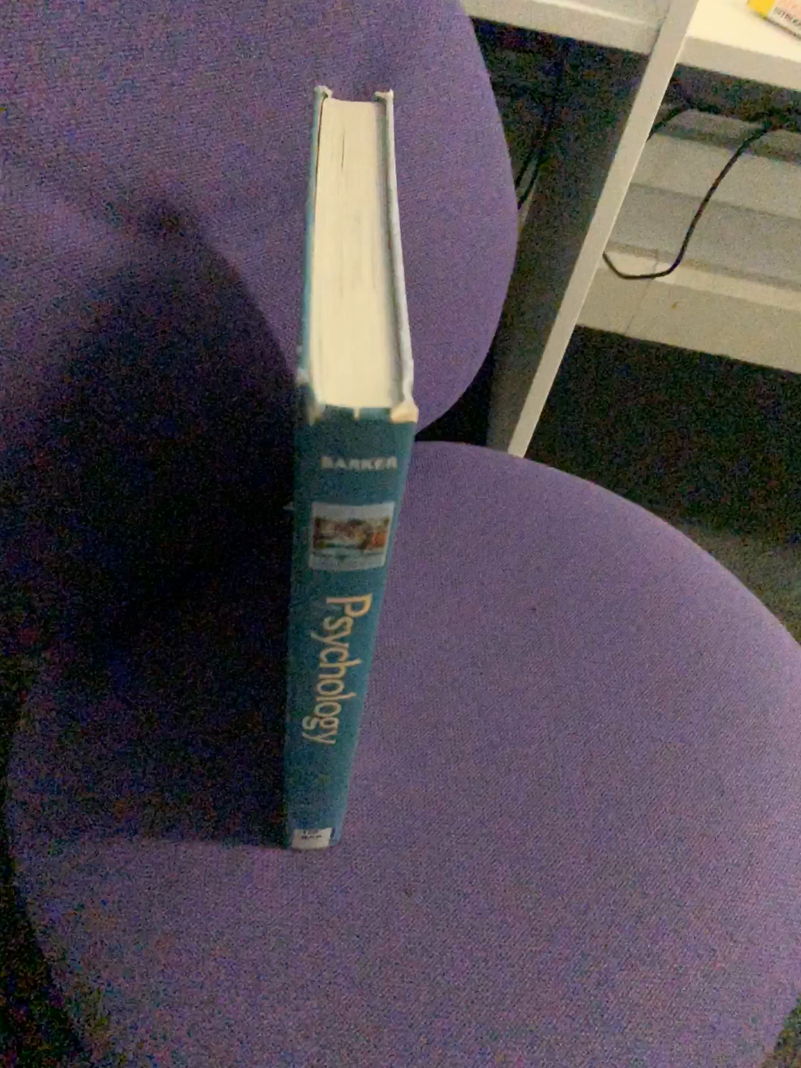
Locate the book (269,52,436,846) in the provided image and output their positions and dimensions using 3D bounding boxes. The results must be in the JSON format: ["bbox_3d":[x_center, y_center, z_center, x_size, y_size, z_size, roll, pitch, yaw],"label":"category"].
[{"bbox_3d":[-0.033,-0.025,0.392,0.040,0.288,0.244,3,49,-7],"label":"book"}]
